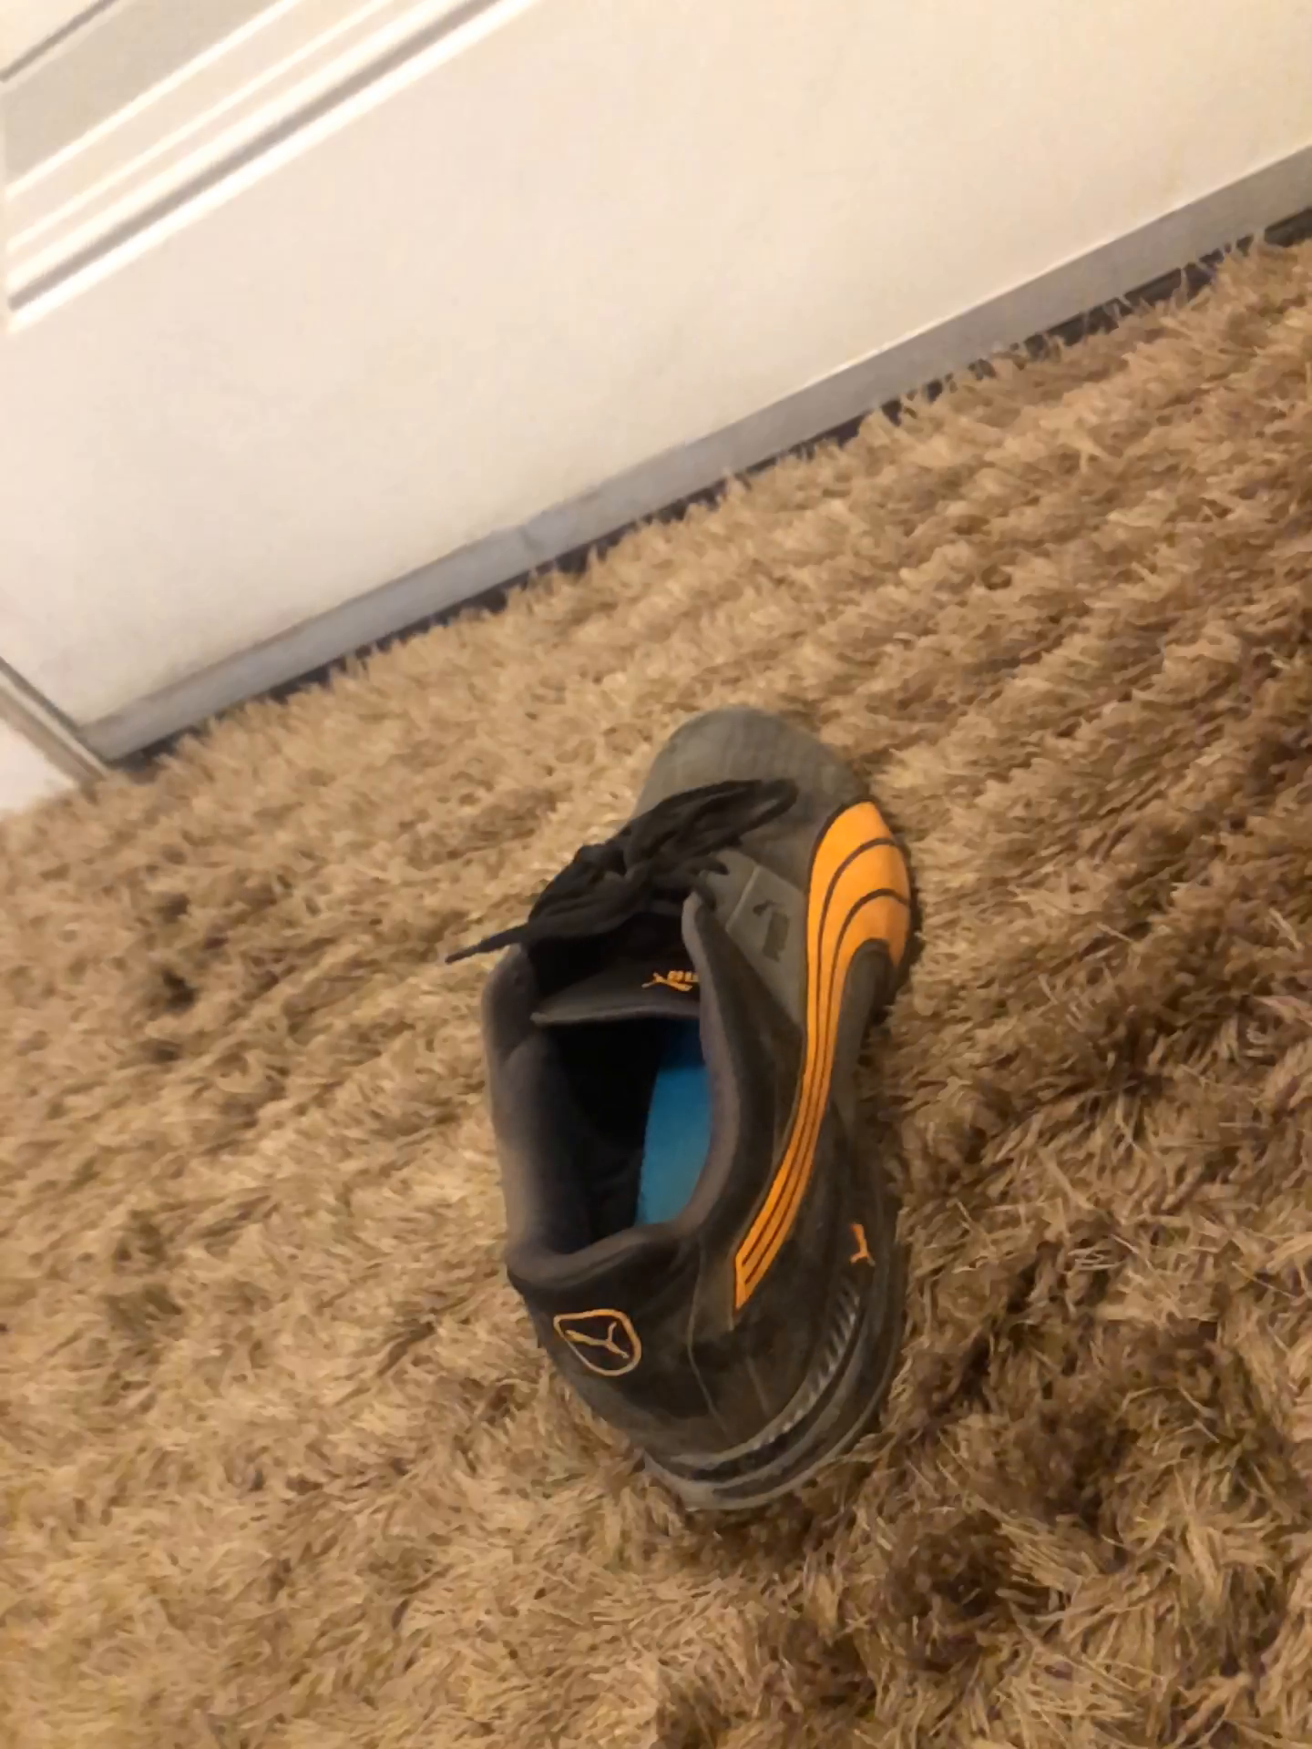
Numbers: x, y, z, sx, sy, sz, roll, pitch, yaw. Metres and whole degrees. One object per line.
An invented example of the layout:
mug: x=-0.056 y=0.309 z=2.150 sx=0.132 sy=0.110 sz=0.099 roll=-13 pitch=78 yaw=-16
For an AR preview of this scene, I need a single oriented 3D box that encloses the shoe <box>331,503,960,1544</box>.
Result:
shoe: x=0.008 y=0.034 z=0.466 sx=0.123 sy=0.110 sz=0.301 roll=-17 pitch=45 yaw=22
